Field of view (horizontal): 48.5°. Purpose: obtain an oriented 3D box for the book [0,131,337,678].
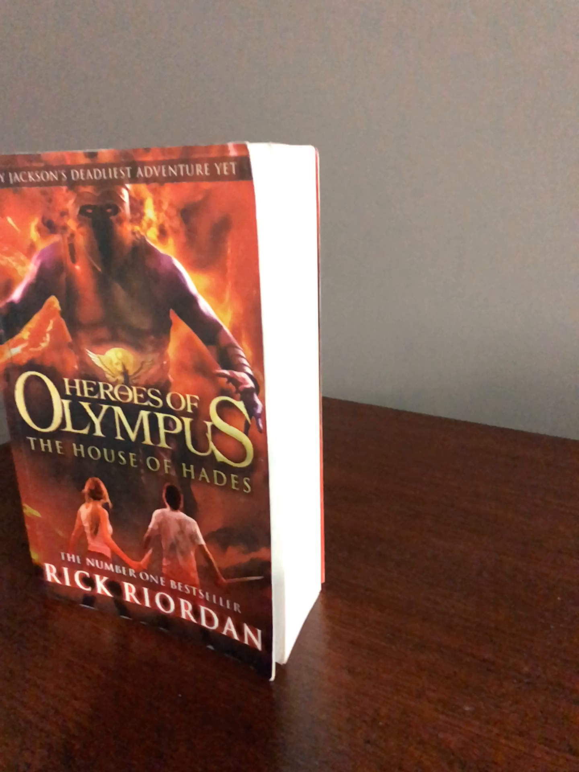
[{"bbox_3d":[-0.057,0.003,0.271,0.140,0.199,0.060,6,21,23],"label":"book"}]
